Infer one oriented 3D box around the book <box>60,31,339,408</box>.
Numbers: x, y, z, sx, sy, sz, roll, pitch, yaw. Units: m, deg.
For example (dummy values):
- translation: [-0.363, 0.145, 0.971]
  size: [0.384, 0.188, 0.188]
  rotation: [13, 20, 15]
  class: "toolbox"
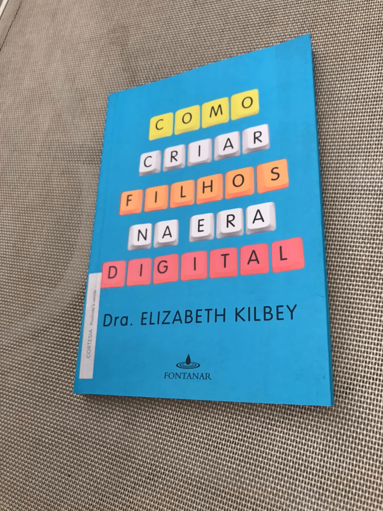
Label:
- translation: [0.001, -0.026, 0.279]
  size: [0.163, 0.020, 0.229]
  rotation: [-6, 69, 23]
  class: "book"
